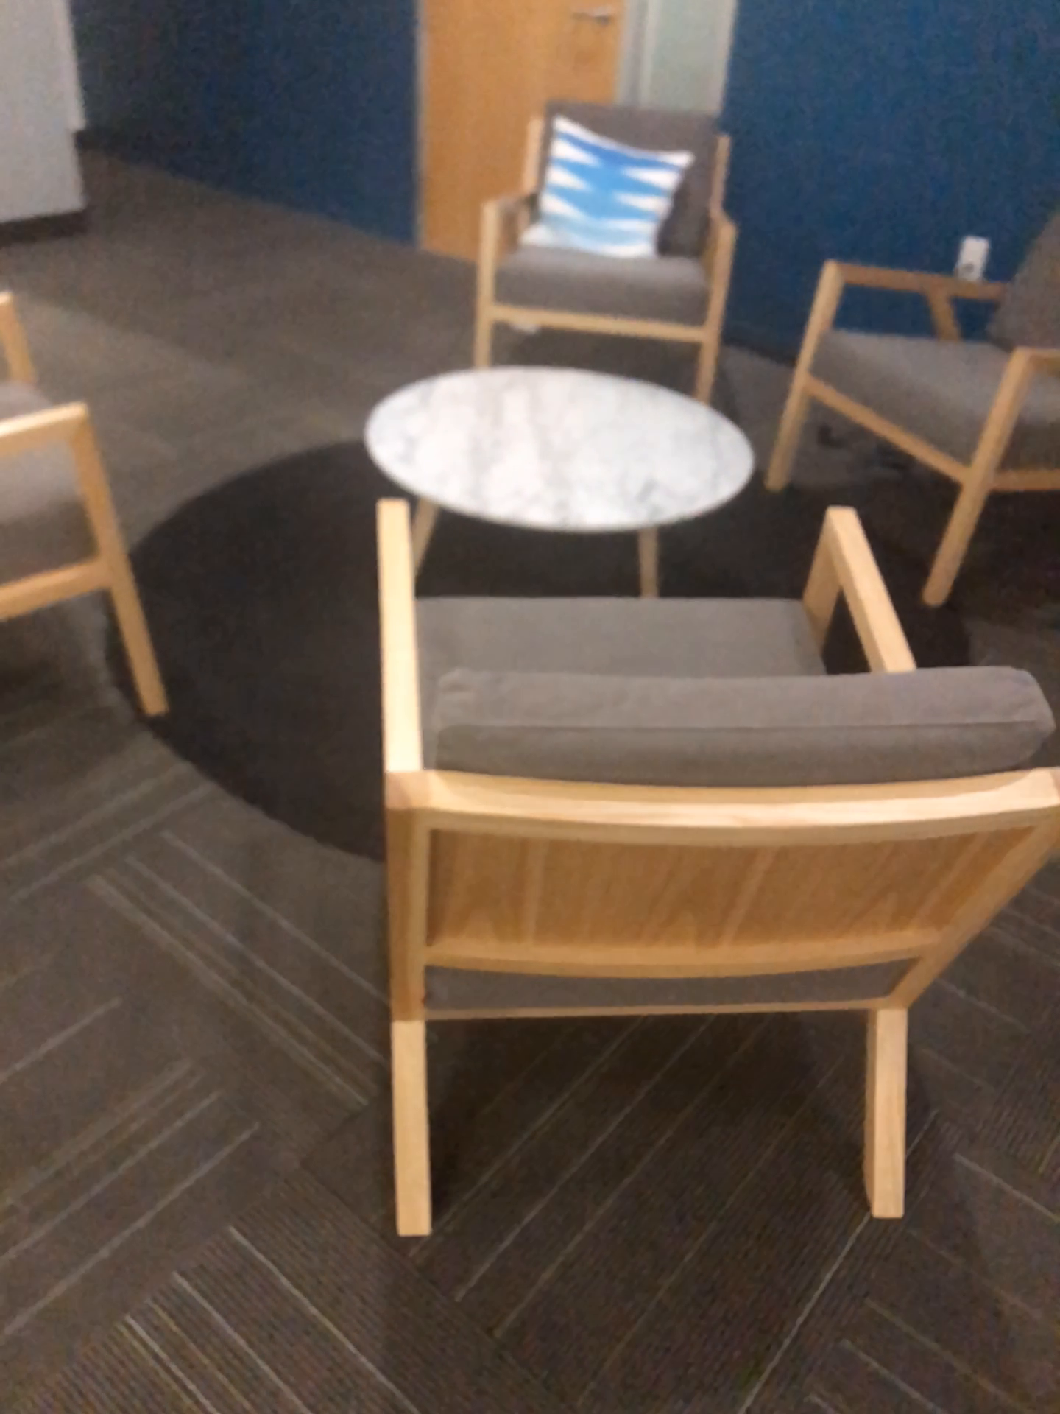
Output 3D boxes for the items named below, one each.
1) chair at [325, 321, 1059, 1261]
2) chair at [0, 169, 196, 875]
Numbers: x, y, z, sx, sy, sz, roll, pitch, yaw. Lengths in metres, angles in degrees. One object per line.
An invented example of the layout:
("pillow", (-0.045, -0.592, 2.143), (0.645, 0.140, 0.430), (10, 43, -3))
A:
("chair", (0.146, 0.066, 1.494), (0.720, 0.753, 0.878), (0, 40, -6))
("chair", (-1.127, -0.365, 1.985), (0.803, 0.773, 0.724), (-19, 41, -24))
